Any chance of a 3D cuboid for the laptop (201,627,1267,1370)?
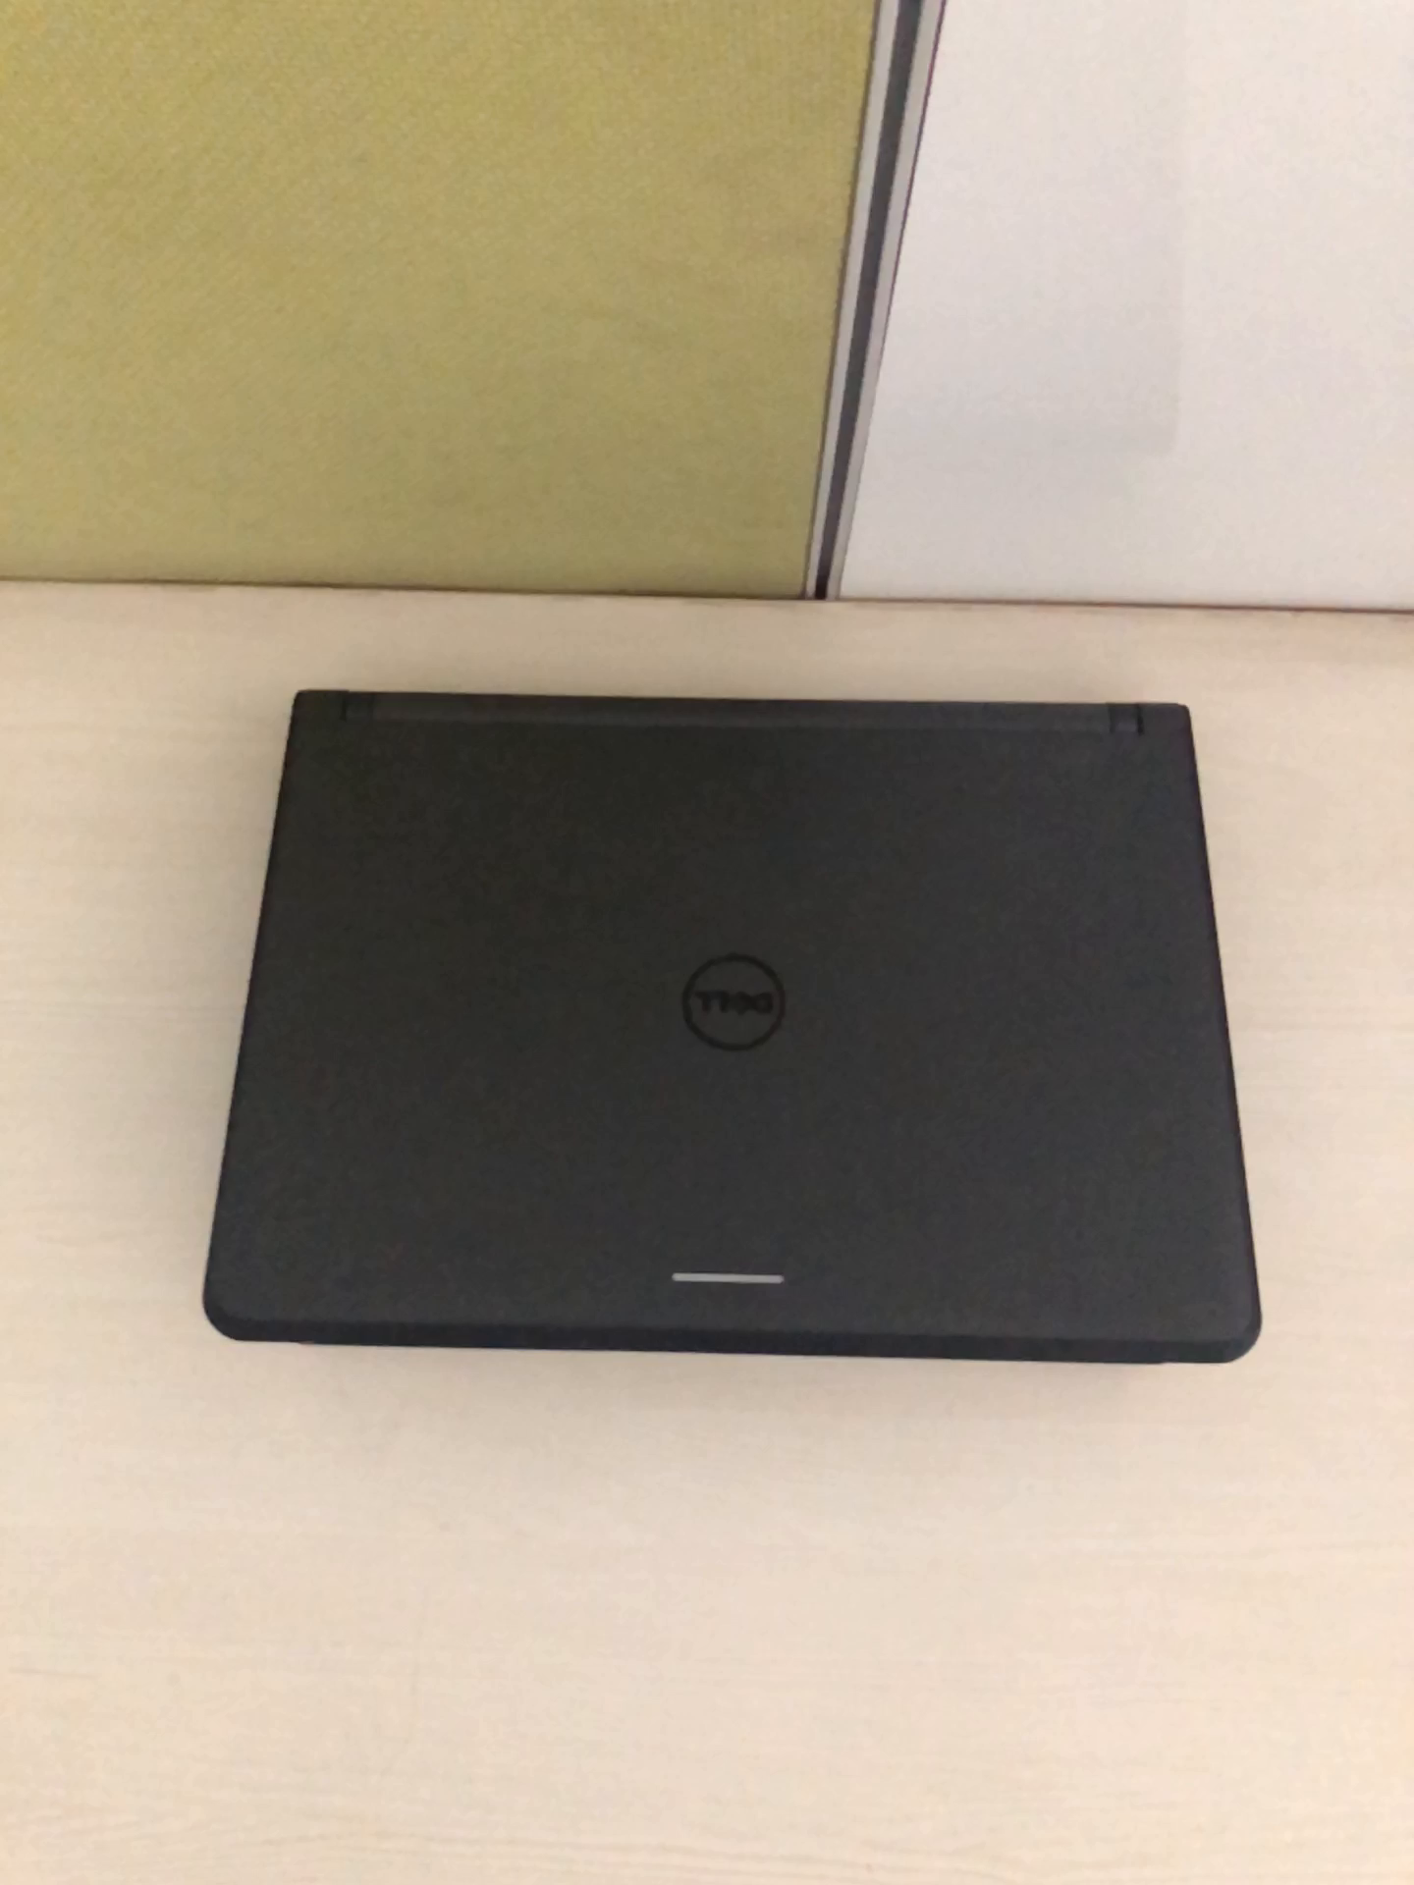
[{"bbox_3d":[0.009,0.019,0.526,0.322,0.073,0.229,1,81,1],"label":"laptop"}]
